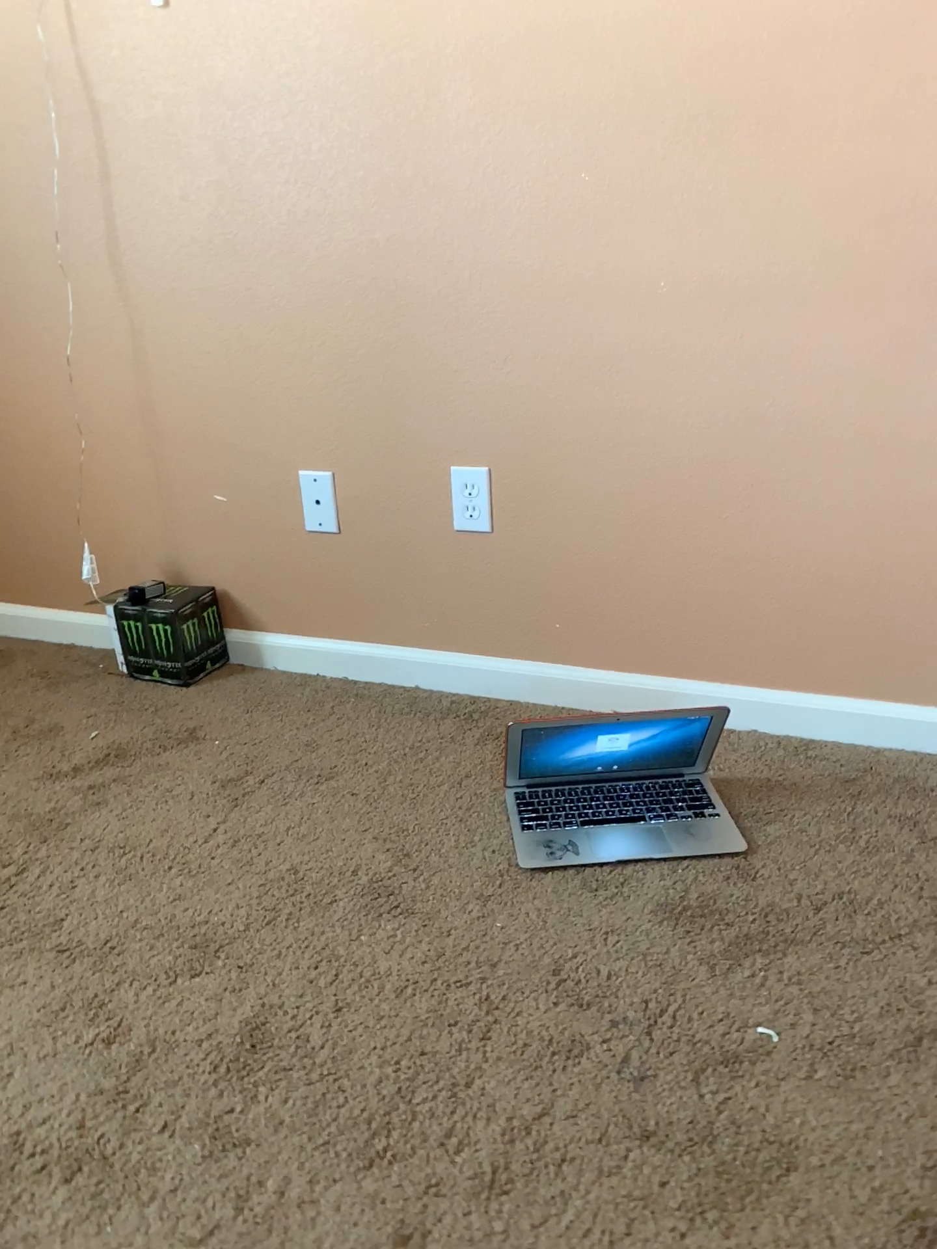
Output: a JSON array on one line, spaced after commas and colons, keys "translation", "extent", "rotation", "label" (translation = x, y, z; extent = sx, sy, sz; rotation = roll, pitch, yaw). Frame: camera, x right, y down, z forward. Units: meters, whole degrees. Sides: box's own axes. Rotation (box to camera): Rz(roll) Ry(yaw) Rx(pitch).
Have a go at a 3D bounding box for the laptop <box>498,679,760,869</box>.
[{"translation": [0.200, 0.191, 1.265], "extent": [0.298, 0.148, 0.194], "rotation": [-4, 21, -3], "label": "laptop"}]
